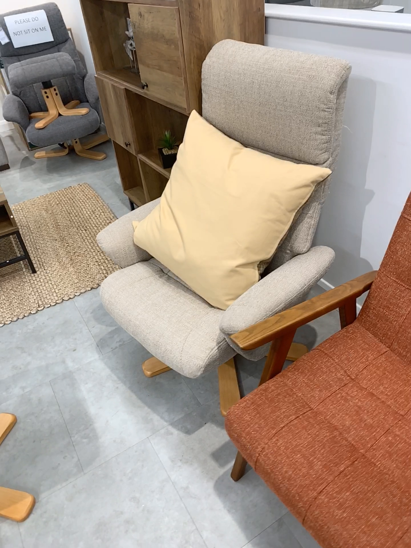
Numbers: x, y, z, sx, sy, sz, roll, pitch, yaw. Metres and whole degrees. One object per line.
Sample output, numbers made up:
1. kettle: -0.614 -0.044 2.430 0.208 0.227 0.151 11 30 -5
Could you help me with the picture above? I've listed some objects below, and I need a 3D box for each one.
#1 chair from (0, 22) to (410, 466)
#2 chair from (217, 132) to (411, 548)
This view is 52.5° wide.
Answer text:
1. chair: -0.011 -0.114 1.362 0.660 1.046 0.765 -34 51 -31
2. chair: 0.449 0.242 0.996 0.619 0.919 0.554 -21 39 -29
